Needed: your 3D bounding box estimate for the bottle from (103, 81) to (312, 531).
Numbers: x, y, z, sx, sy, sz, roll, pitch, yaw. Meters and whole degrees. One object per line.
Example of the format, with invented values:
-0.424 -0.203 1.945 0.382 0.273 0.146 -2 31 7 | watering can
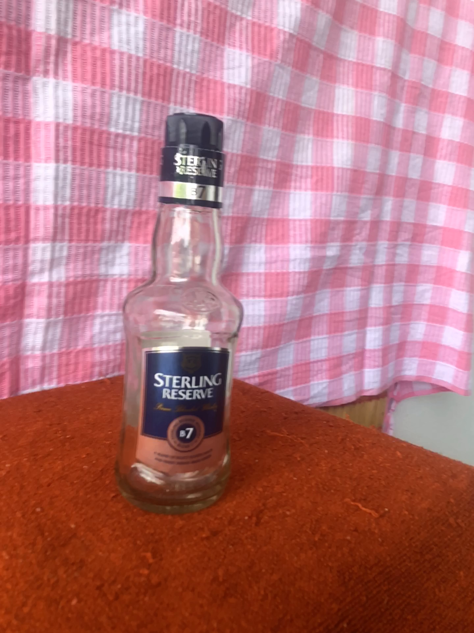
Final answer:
-0.019 -0.001 0.227 0.060 0.170 0.050 4 12 -19 | bottle
